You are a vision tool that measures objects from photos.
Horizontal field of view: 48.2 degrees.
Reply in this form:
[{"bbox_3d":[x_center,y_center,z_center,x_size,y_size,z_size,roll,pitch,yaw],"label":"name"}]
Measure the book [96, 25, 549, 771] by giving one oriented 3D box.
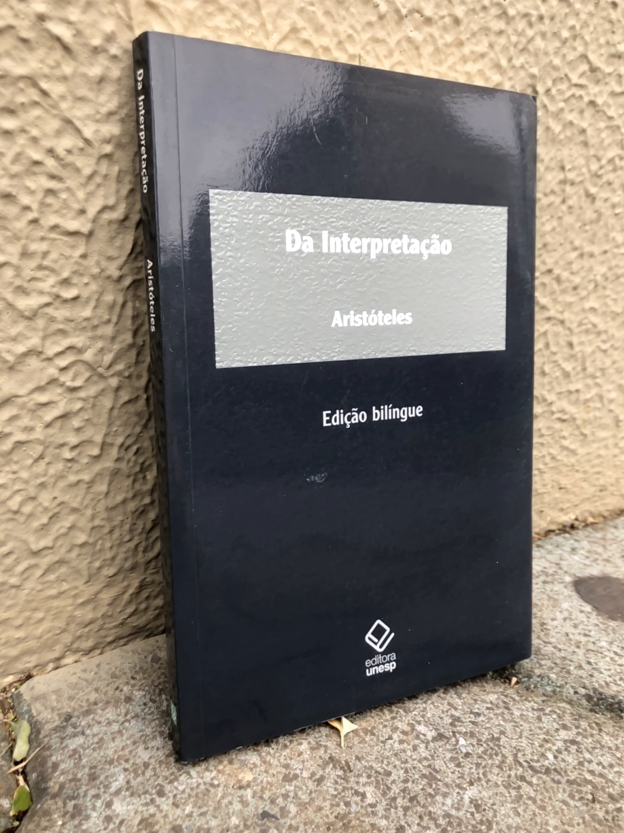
[{"bbox_3d":[0.010,-0.006,0.216,0.132,0.188,0.030,-5,9,-25],"label":"book"}]
